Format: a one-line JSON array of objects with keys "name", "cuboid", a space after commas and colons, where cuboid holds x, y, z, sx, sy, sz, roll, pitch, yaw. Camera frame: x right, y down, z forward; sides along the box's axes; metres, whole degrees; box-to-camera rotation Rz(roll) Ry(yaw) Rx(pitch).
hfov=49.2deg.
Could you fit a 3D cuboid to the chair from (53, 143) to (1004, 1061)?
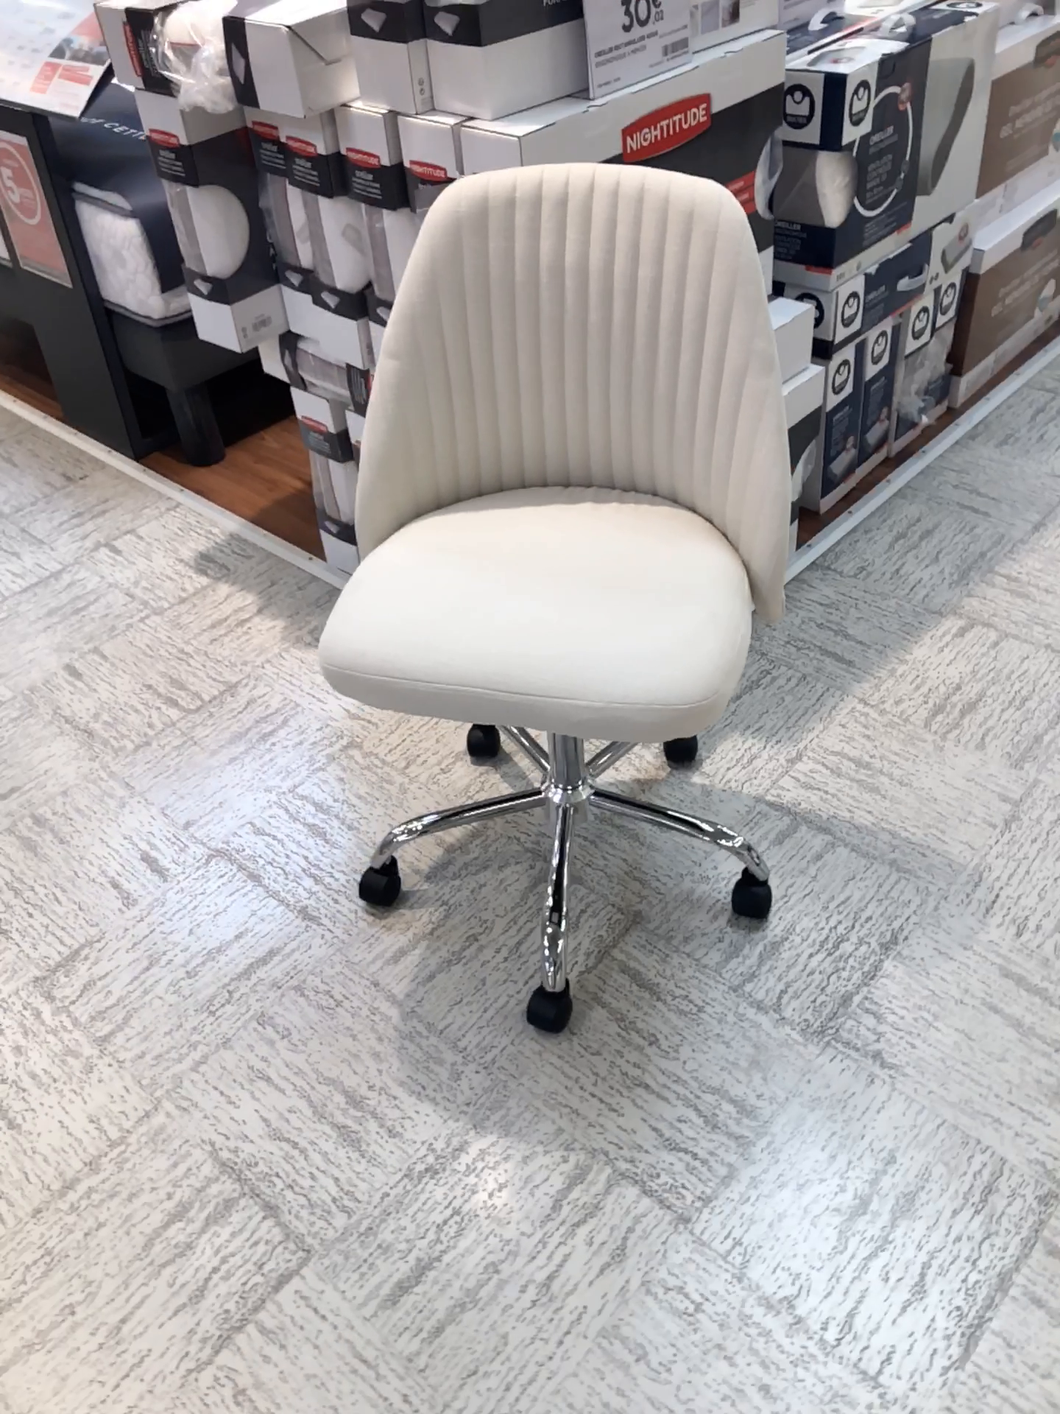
[{"name": "chair", "cuboid": [0.051, -0.123, 1.332, 0.700, 0.786, 0.634, 3, 41, 9]}]
